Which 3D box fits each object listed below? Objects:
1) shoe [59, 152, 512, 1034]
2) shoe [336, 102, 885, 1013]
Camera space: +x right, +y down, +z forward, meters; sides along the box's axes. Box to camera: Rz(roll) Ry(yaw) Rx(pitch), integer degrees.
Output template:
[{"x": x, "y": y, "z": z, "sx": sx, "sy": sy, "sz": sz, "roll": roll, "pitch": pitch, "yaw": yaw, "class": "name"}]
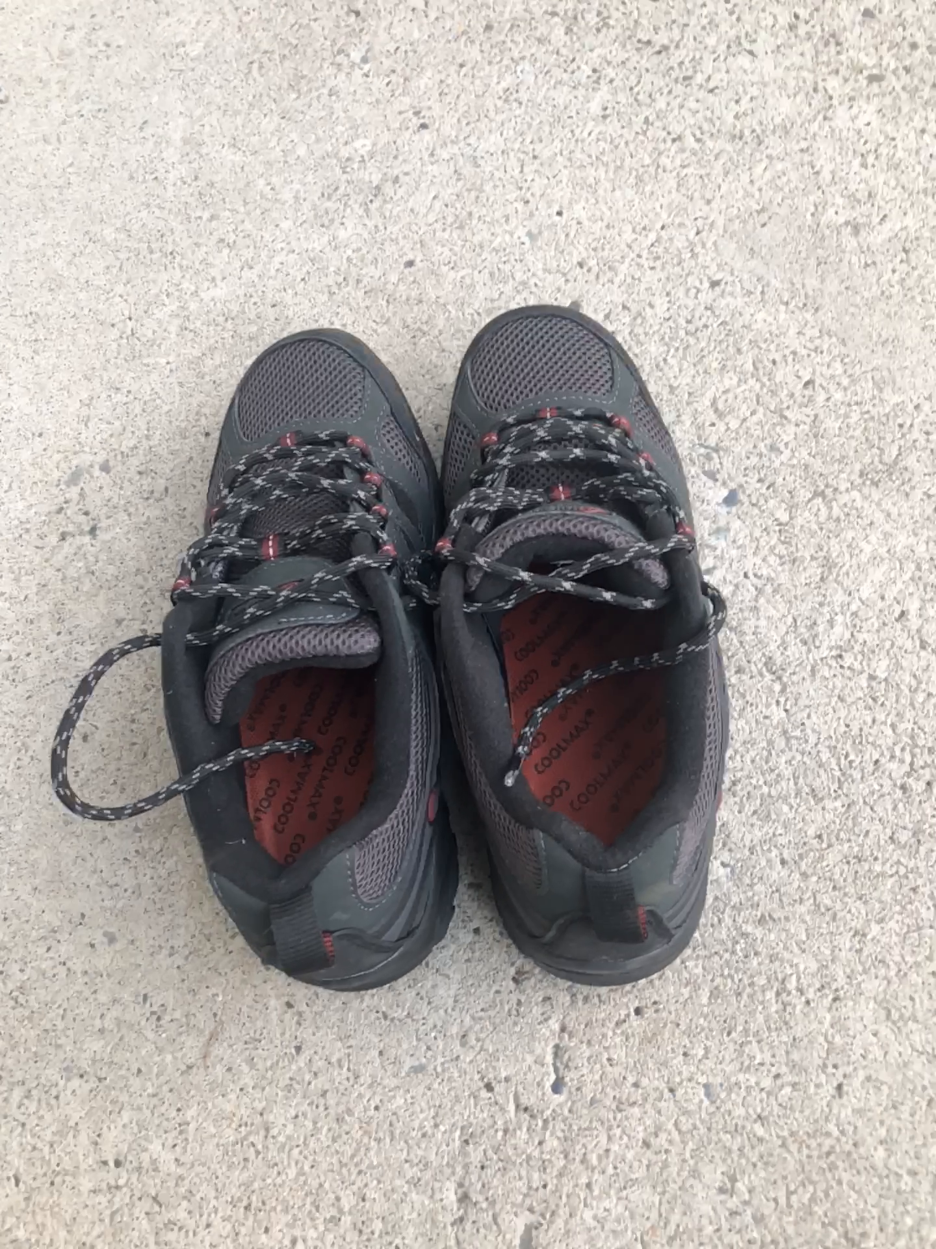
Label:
[{"x": -0.070, "y": -0.014, "z": 0.395, "sx": 0.120, "sy": 0.110, "sz": 0.303, "roll": -10, "pitch": 68, "yaw": 4, "class": "shoe"}, {"x": 0.036, "y": -0.025, "z": 0.379, "sx": 0.120, "sy": 0.110, "sz": 0.301, "roll": -10, "pitch": 68, "yaw": 4, "class": "shoe"}]
